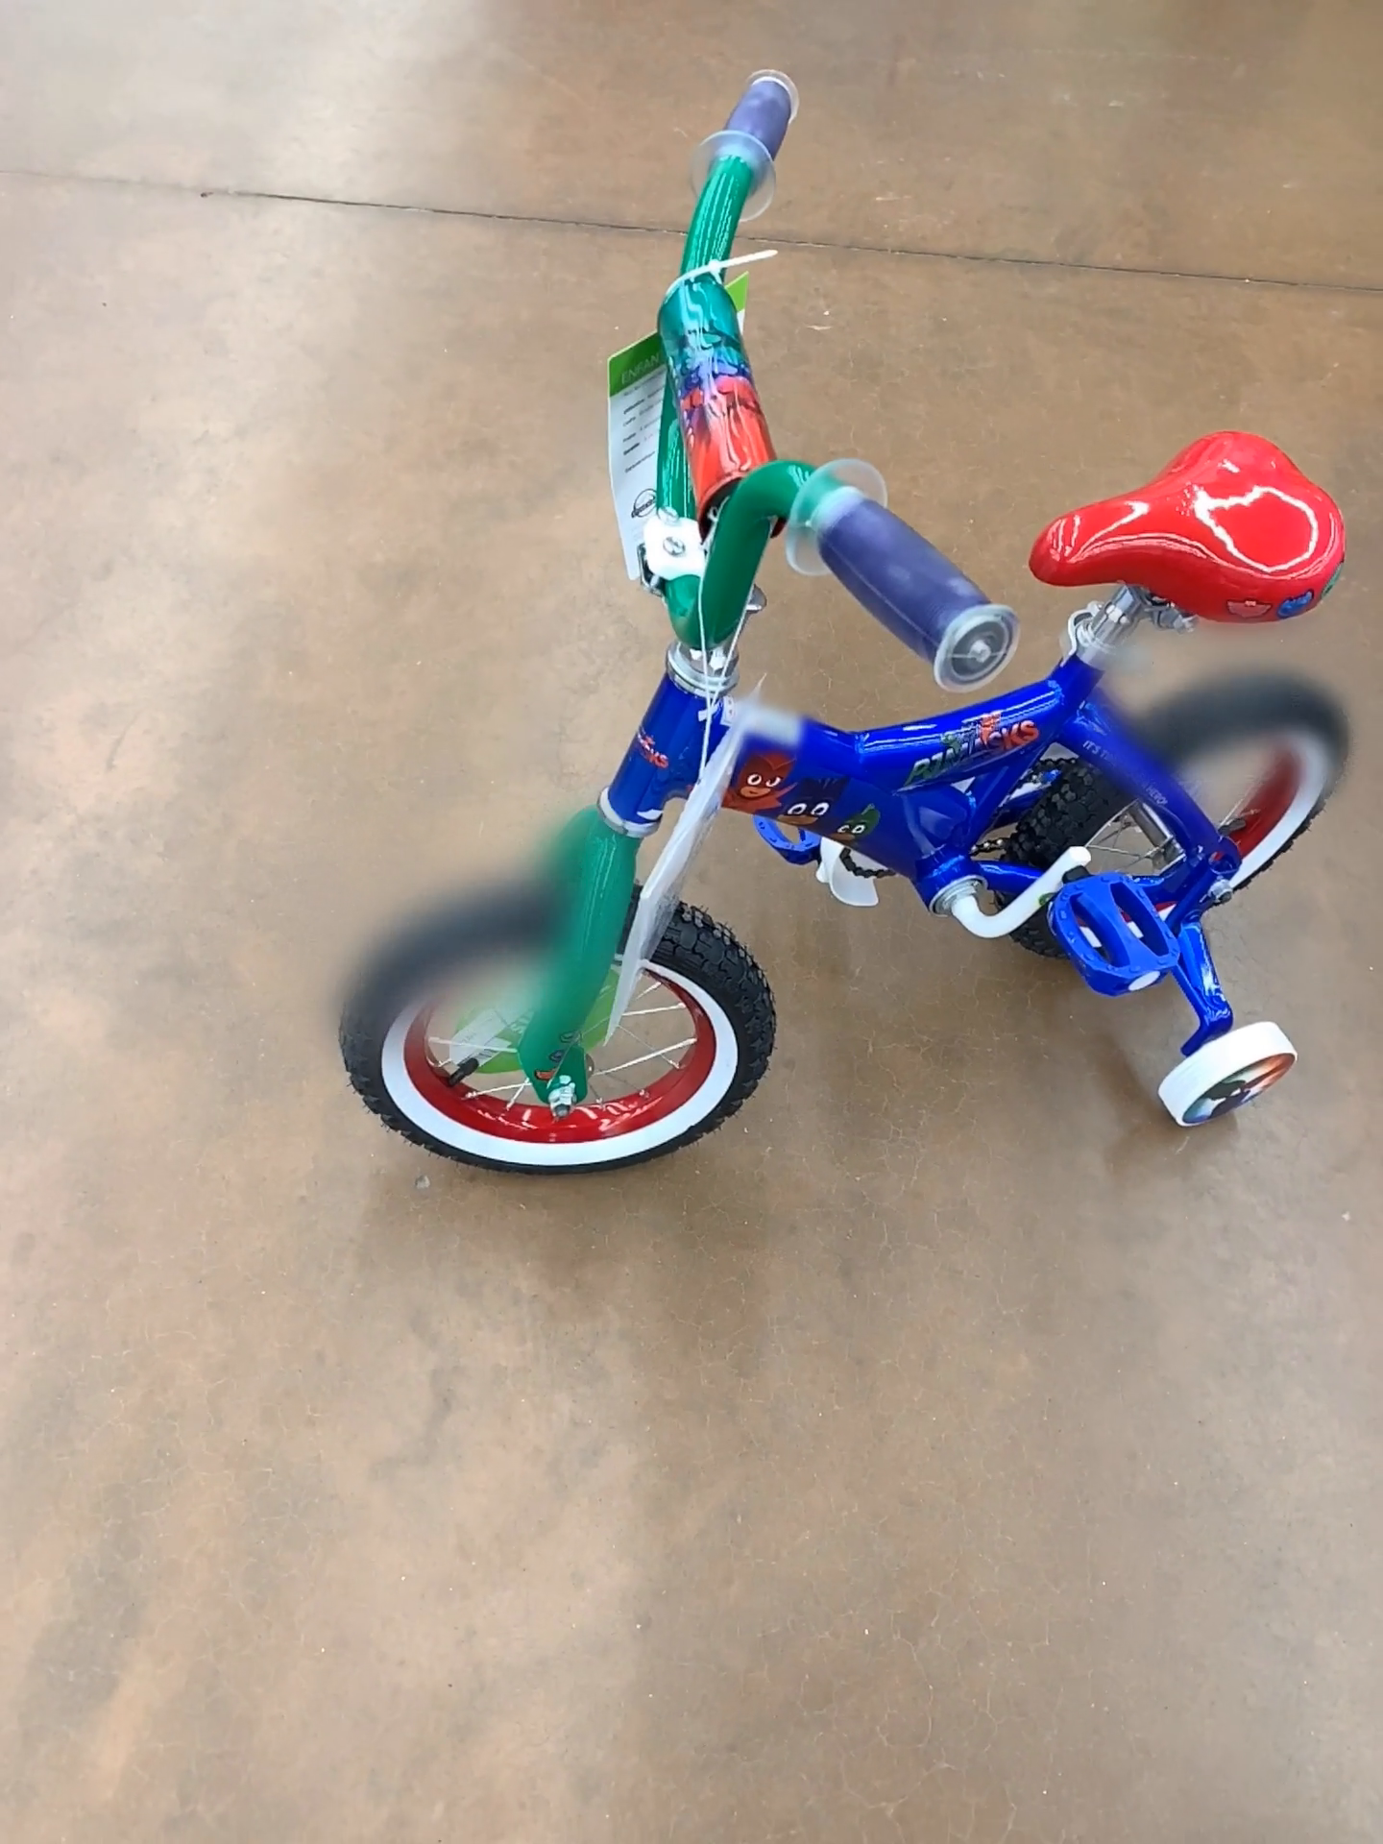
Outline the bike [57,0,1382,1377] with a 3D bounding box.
[{"bbox_3d":[0.141,-0.150,0.898,0.775,0.670,0.461,-15,59,-15],"label":"bike"}]
